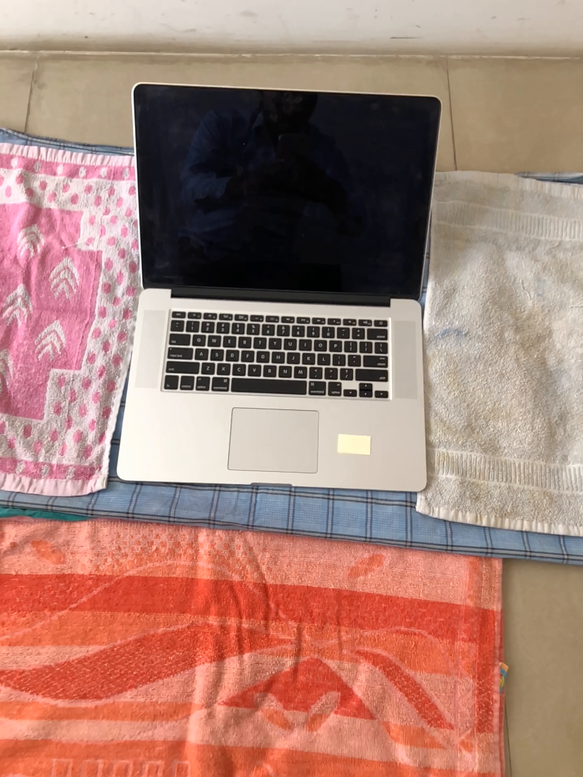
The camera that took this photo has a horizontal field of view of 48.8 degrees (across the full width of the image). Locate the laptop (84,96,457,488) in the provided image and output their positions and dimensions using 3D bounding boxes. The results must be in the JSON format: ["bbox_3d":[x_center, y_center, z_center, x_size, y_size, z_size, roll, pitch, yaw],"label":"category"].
[{"bbox_3d":[-0.012,-0.109,0.725,0.343,0.144,0.414,2,72,1],"label":"laptop"}]
